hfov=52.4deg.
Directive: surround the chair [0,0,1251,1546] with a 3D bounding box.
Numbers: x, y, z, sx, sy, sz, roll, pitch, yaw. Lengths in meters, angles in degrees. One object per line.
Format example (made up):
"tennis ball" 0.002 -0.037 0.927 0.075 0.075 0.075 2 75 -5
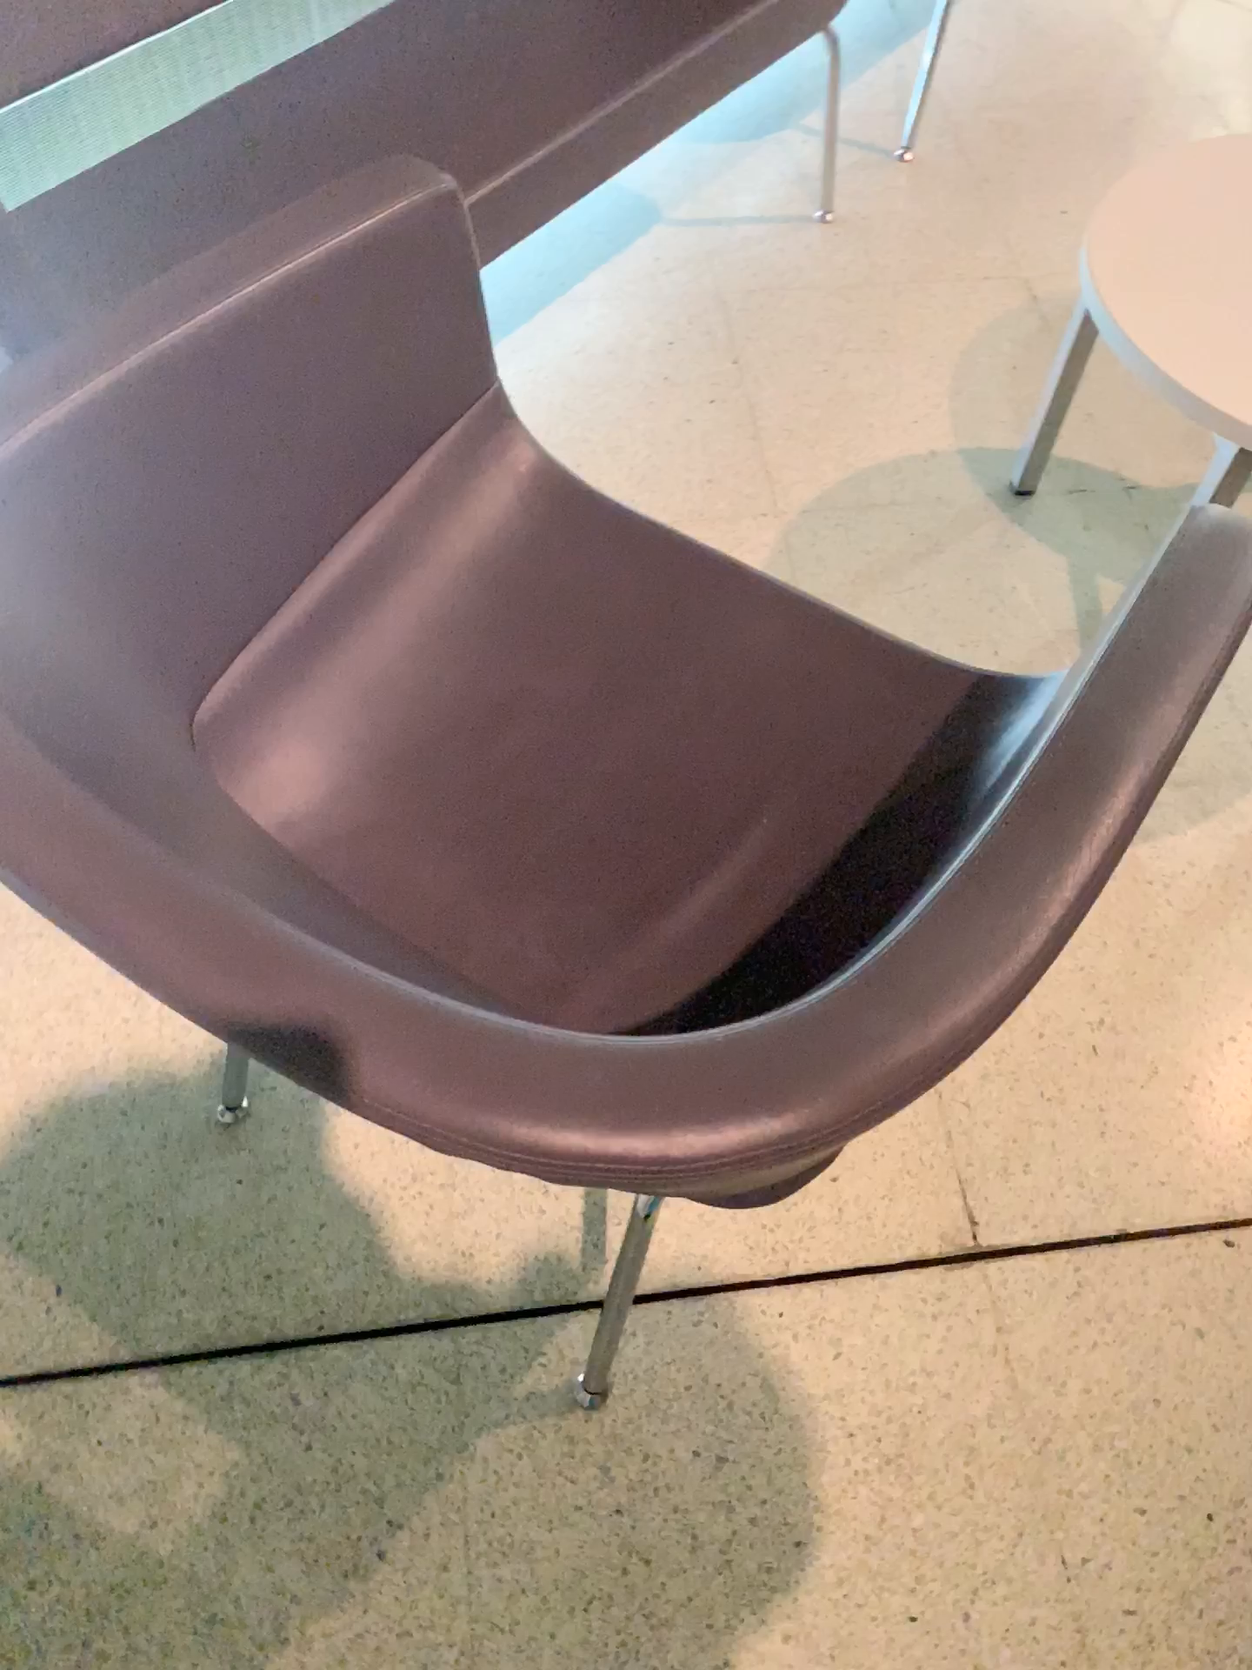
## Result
"chair" -0.067 -0.055 1.021 0.732 0.715 0.754 32 62 19
